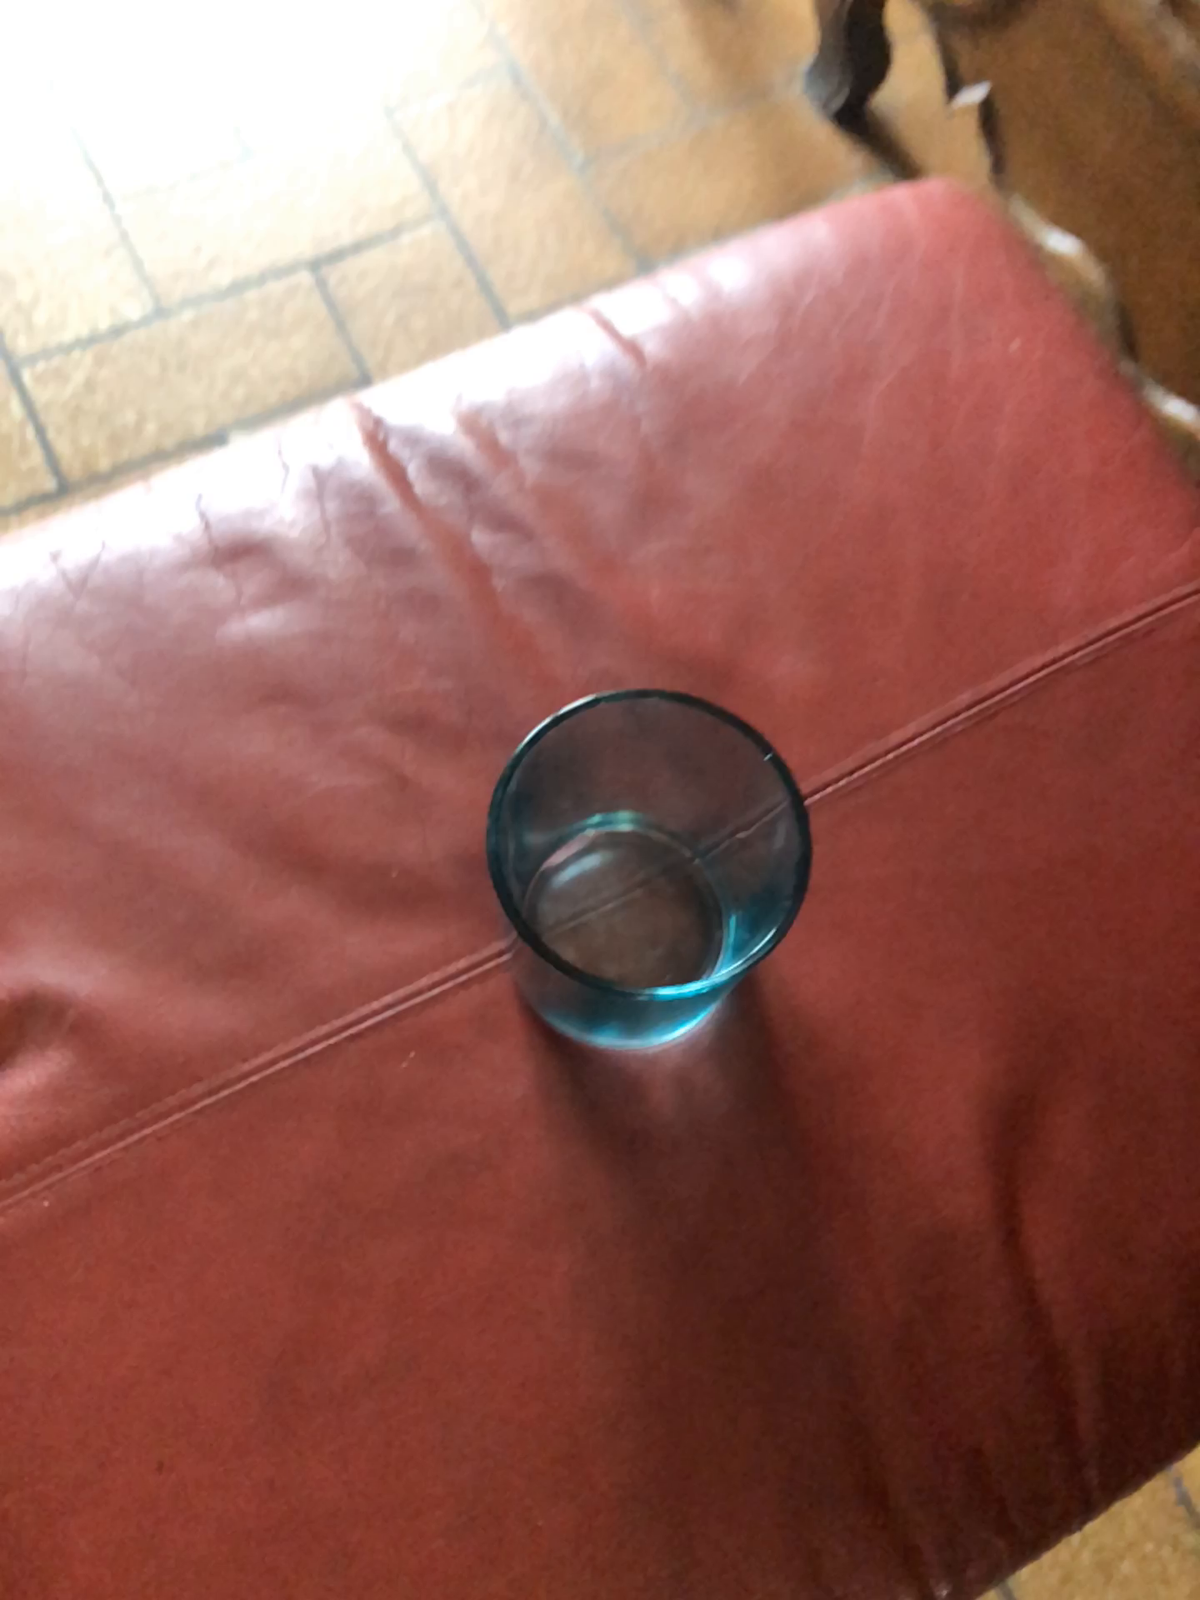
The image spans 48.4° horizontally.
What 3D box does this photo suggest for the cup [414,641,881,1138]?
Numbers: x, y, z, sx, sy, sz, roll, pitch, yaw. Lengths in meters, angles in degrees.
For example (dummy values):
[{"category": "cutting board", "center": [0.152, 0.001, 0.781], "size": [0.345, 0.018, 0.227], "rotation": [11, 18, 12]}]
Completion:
[{"category": "cup", "center": [0.009, 0.026, 0.315], "size": [0.070, 0.090, 0.070], "rotation": [1, 70, -2]}]
